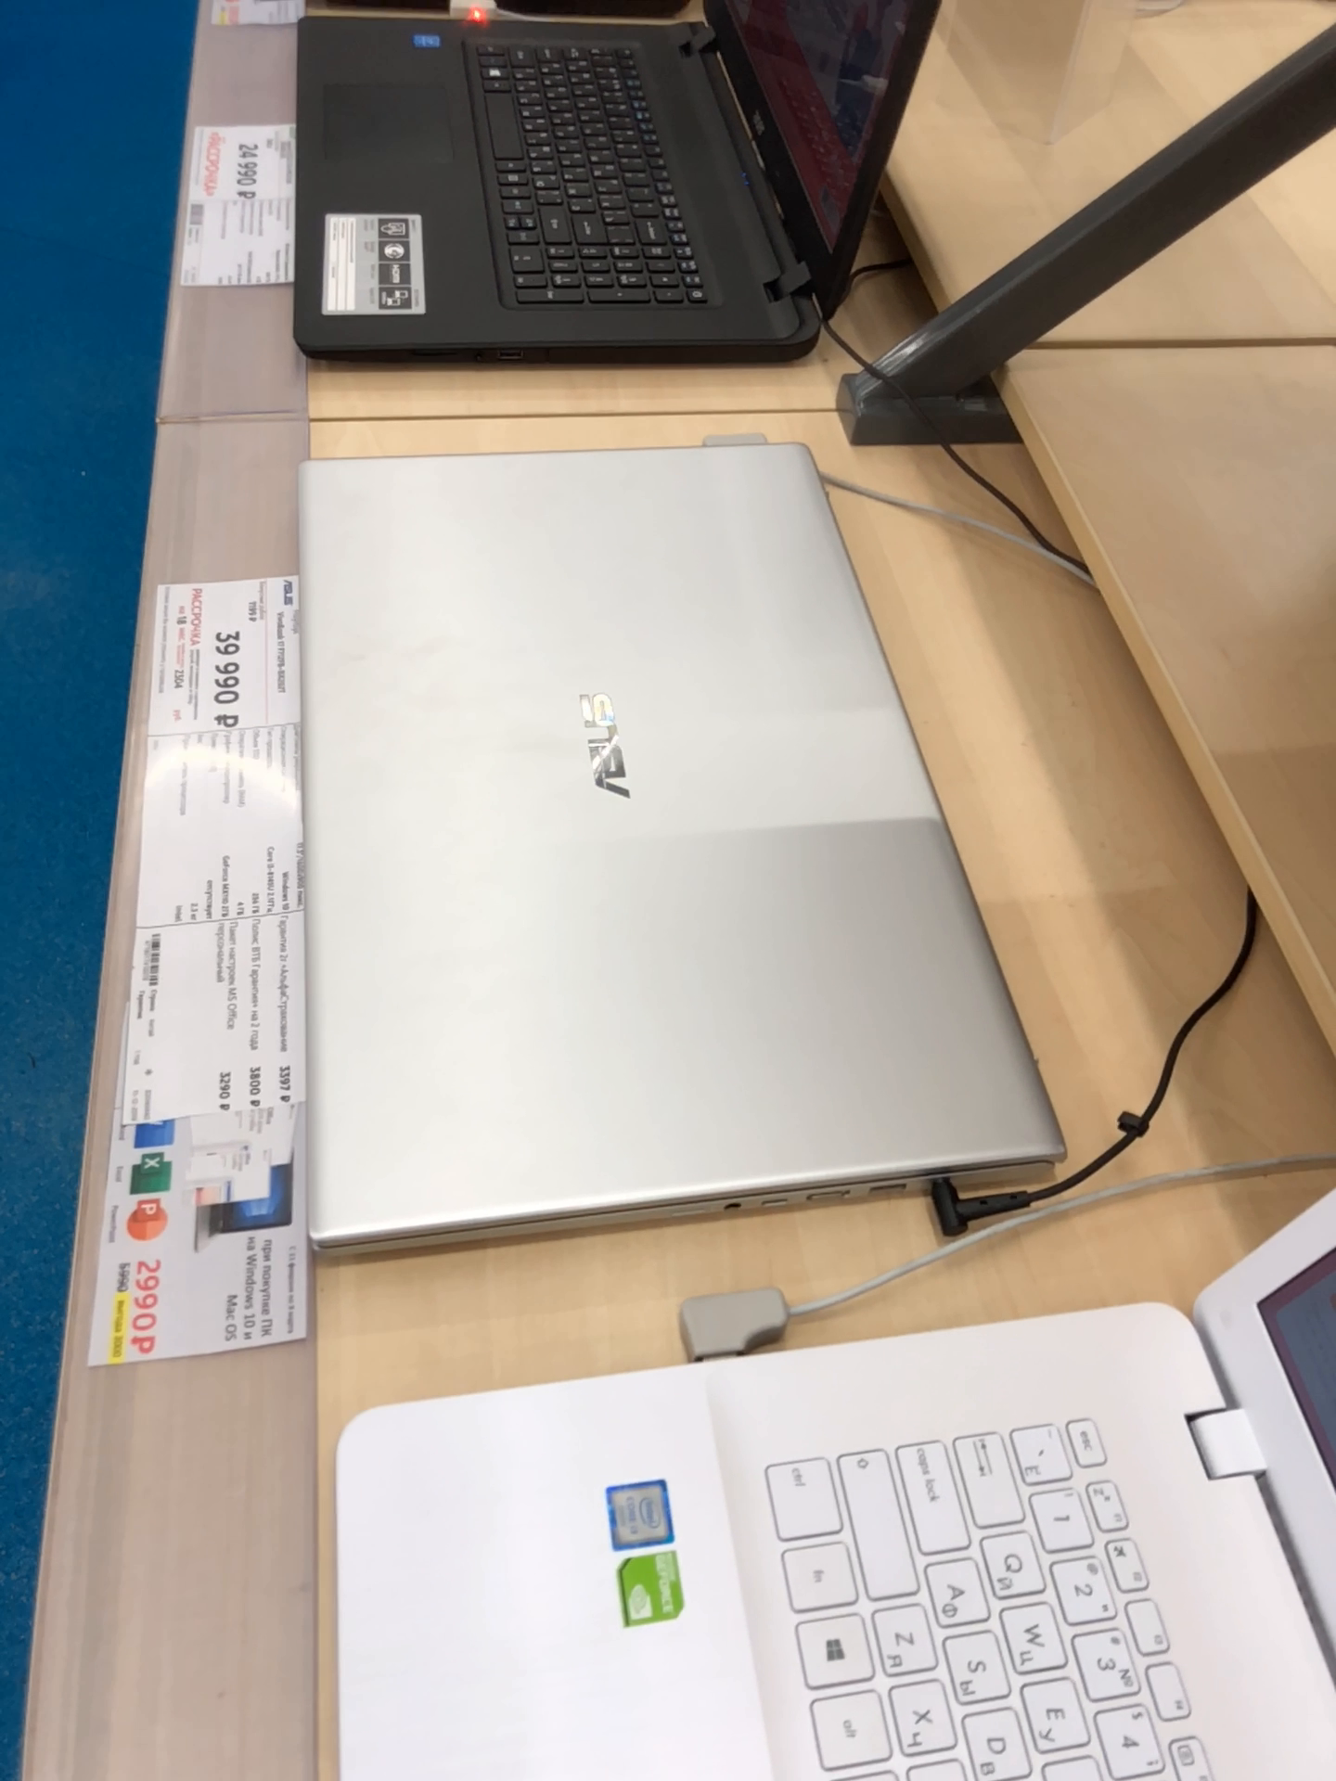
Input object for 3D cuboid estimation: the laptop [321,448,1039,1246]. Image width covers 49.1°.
[{"bbox_3d":[-0.021,-0.054,0.598,0.232,0.006,0.393,-6,52,-8],"label":"laptop"}]
